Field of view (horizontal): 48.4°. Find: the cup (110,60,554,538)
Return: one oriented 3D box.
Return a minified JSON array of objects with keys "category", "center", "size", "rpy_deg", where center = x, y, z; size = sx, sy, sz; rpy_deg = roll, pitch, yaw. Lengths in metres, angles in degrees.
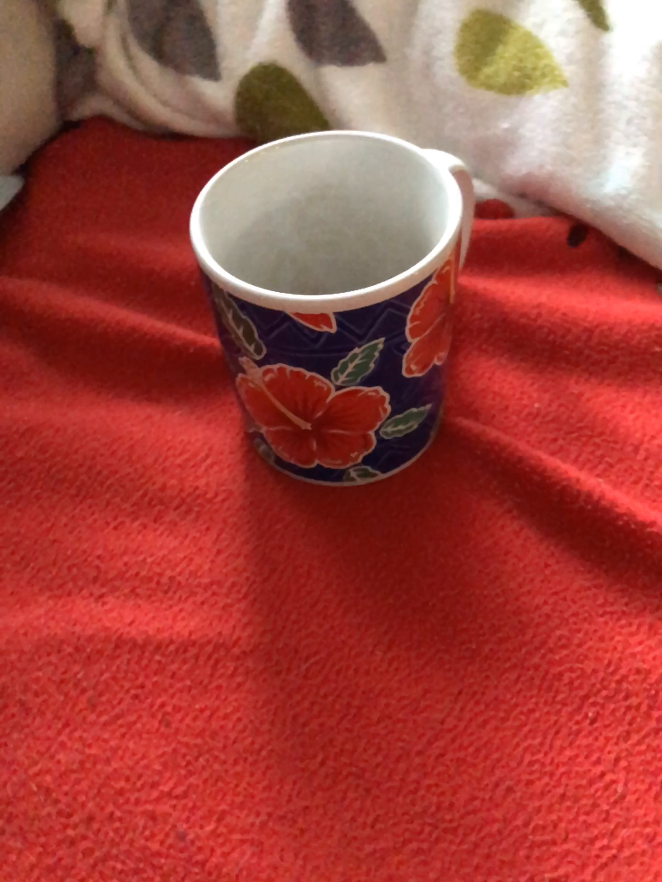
[{"category":"cup","center":[0.008,-0.055,0.268],"size":[0.090,0.099,0.120],"rpy_deg":[23,56,22]}]
